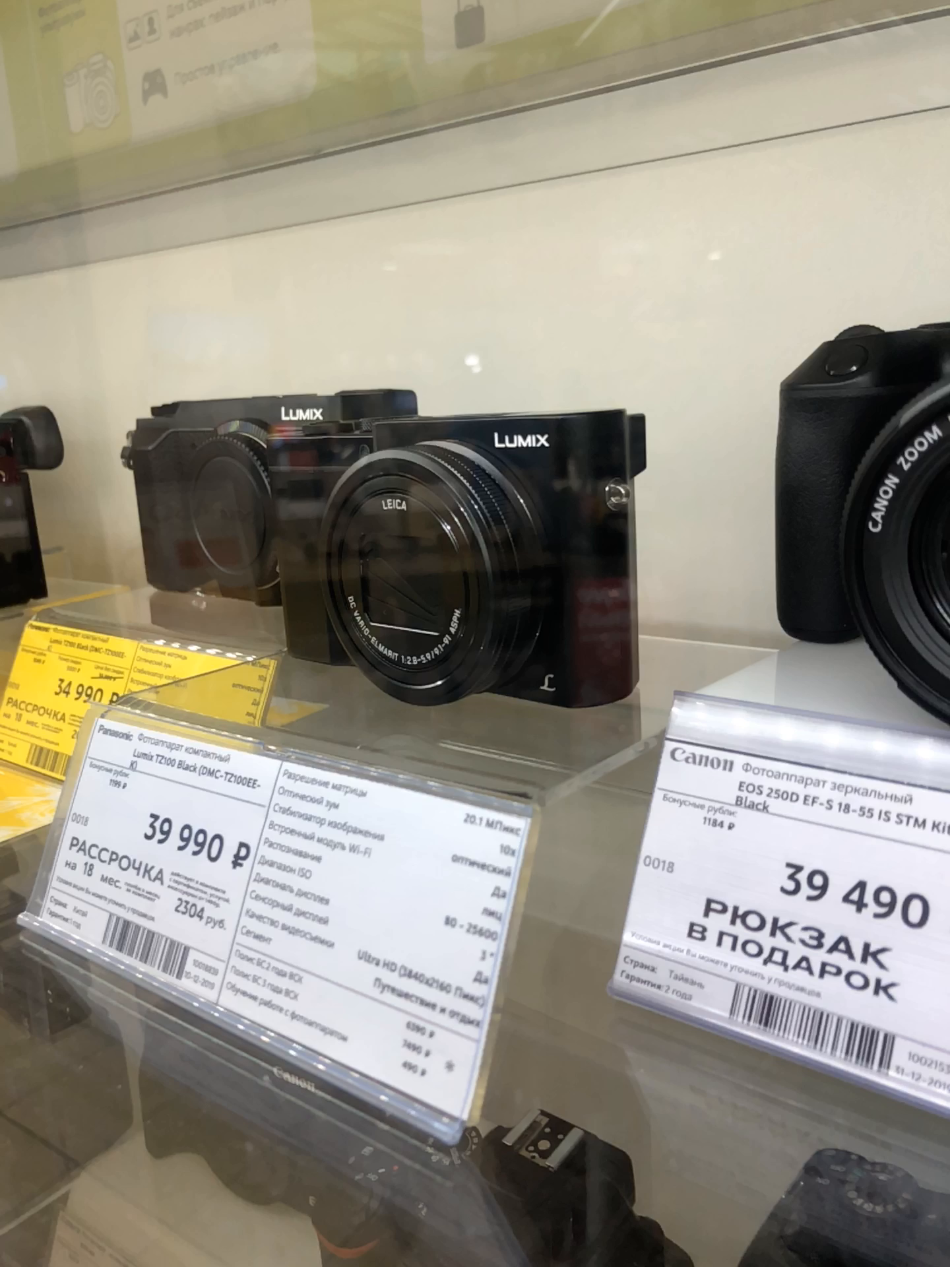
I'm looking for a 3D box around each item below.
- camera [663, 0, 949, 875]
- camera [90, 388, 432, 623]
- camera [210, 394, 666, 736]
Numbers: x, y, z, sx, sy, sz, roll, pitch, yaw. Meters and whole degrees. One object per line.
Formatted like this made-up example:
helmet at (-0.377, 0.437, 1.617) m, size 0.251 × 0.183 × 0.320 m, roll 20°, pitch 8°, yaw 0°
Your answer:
camera at (0.152, -0.047, 0.226) m, size 0.157 × 0.099 × 0.164 m, roll 7°, pitch 19°, yaw 38°
camera at (-0.076, -0.048, 0.371) m, size 0.108 × 0.068 × 0.055 m, roll 7°, pitch 17°, yaw 38°
camera at (-0.012, -0.021, 0.262) m, size 0.111 × 0.068 × 0.038 m, roll 7°, pitch 17°, yaw 38°
